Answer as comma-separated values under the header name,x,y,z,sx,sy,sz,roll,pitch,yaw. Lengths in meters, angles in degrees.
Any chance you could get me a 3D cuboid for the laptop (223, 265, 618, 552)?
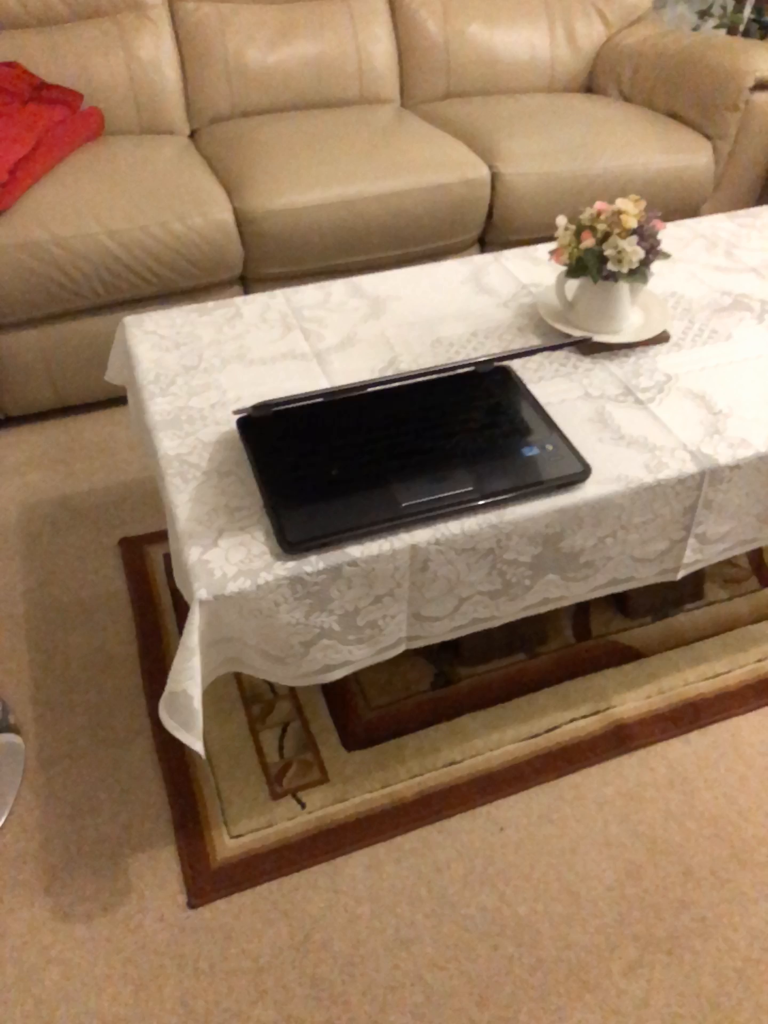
name,x,y,z,sx,sy,sz,roll,pitch,yaw
laptop,0.030,-0.129,0.953,0.360,0.139,0.238,-14,45,-14
